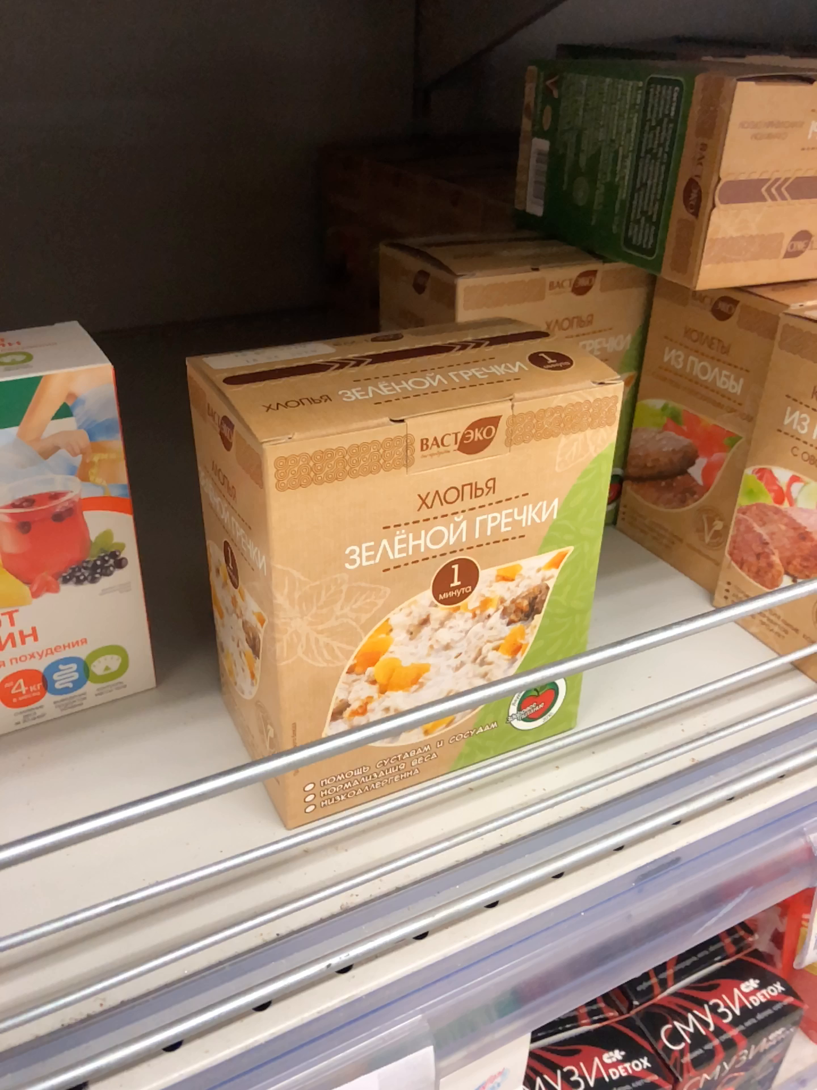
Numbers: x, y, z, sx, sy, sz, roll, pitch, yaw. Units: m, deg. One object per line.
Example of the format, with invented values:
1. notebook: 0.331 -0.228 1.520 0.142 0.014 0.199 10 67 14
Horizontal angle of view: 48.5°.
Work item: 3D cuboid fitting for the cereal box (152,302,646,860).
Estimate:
1. cereal box: -0.007 0.006 0.324 0.130 0.149 0.090 -13 34 -24
